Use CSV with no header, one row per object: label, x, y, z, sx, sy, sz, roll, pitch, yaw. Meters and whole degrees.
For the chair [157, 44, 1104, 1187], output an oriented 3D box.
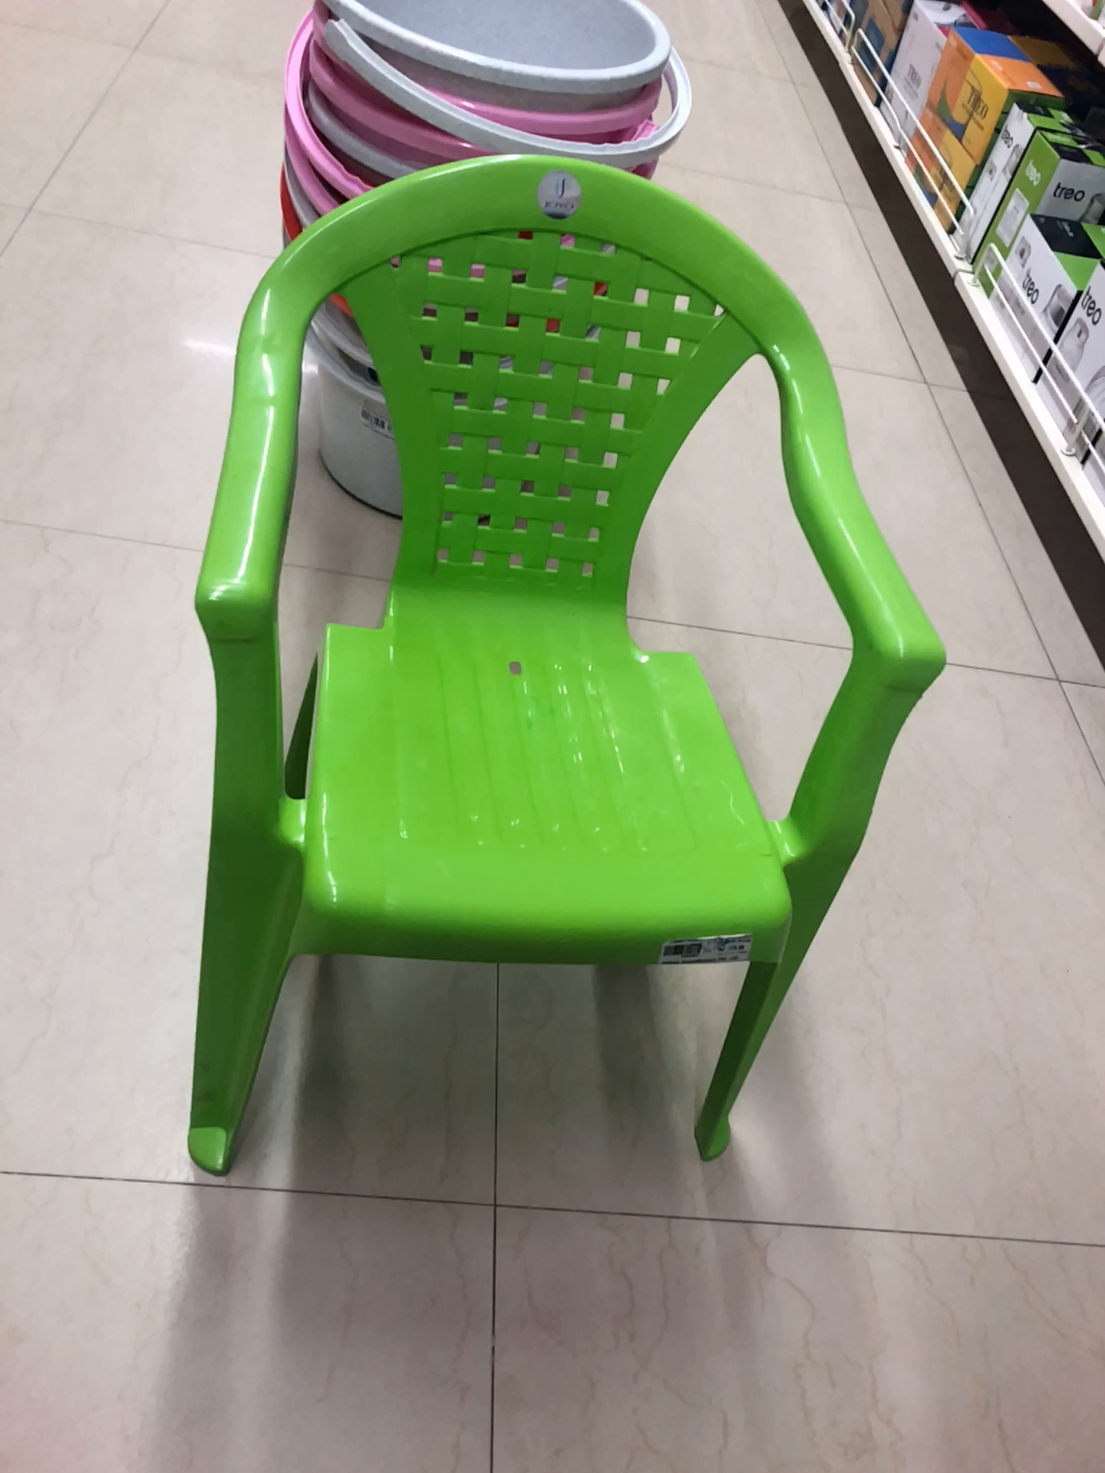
chair,-0.006,-0.015,0.671,0.360,0.517,0.312,4,46,-13
